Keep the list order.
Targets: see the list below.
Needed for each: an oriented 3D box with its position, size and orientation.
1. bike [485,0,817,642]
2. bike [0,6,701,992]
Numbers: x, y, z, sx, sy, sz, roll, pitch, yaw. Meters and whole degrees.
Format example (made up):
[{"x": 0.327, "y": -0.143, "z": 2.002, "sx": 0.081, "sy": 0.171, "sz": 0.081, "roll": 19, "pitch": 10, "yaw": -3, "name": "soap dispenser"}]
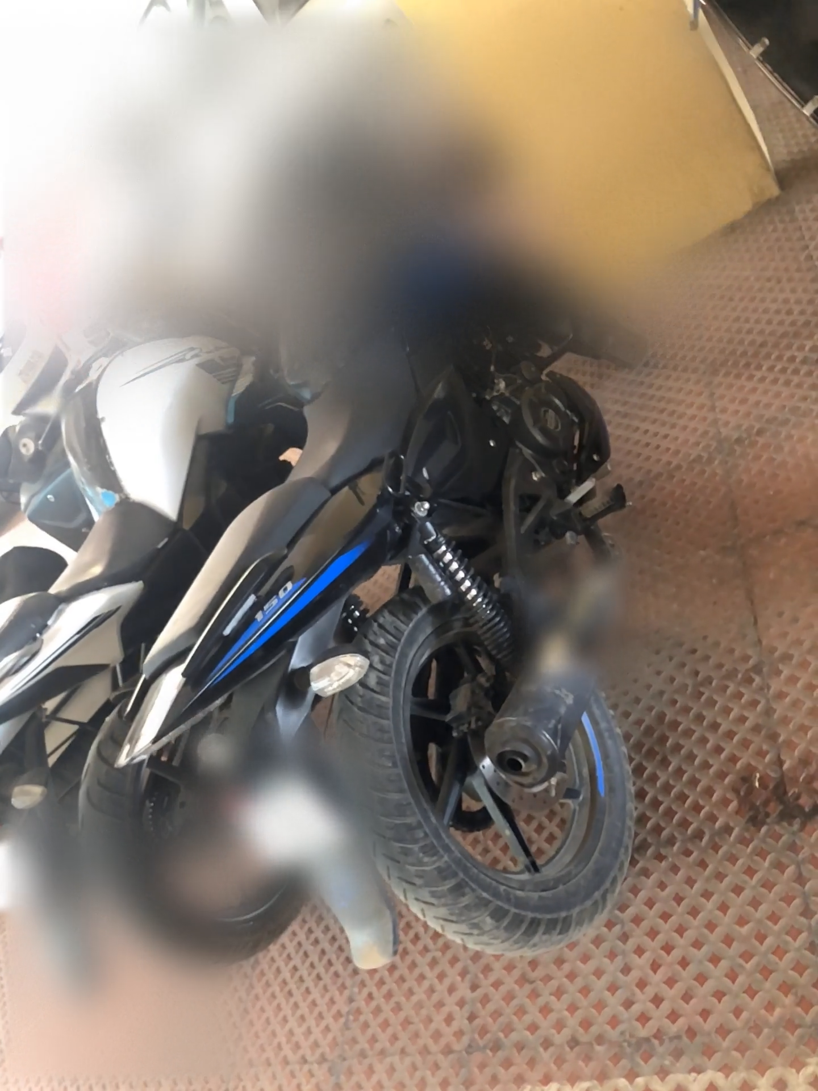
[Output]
[{"x": 0.858, "y": -0.905, "z": 1.766, "sx": 0.713, "sy": 1.222, "sz": 1.720, "roll": -31, "pitch": 33, "yaw": 22, "name": "bike"}, {"x": -0.092, "y": -0.209, "z": 1.880, "sx": 0.747, "sy": 0.989, "sz": 1.849, "roll": -26, "pitch": 35, "yaw": 29, "name": "bike"}]
